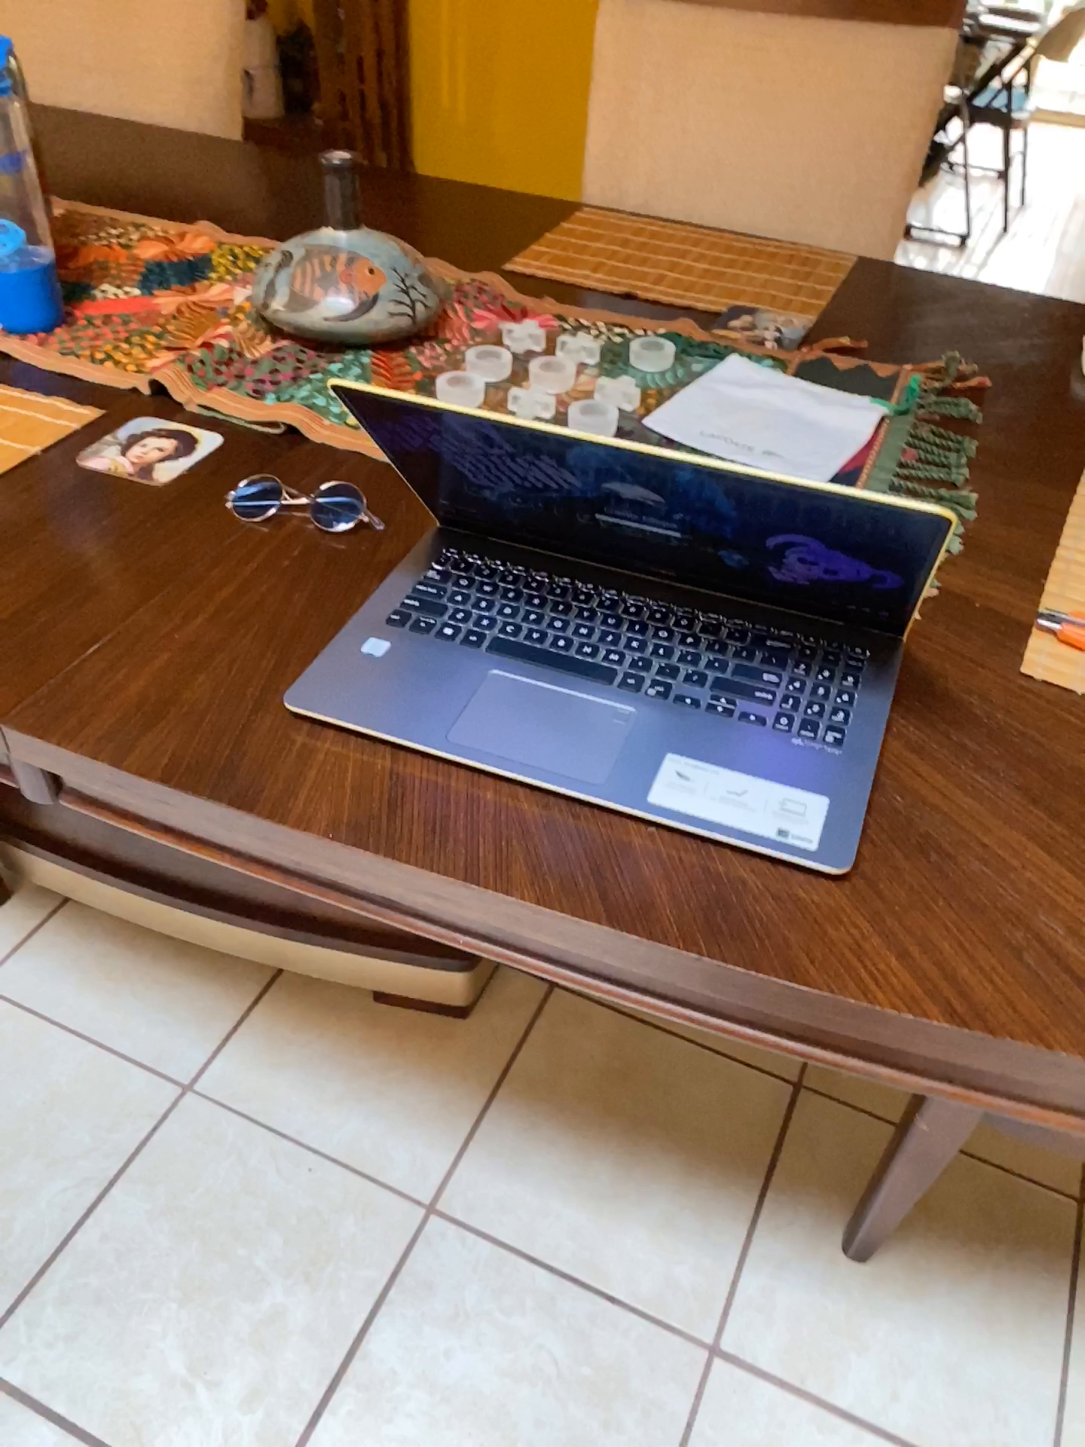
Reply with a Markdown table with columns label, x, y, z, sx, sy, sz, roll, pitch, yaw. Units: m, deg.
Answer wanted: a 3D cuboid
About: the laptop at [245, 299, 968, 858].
| label | x | y | z | sx | sy | sz | roll | pitch | yaw |
| --- | --- | --- | --- | --- | --- | --- | --- | --- | --- |
| laptop | 0.049 | -0.114 | 0.729 | 0.377 | 0.181 | 0.251 | 16 | 43 | 14 |
